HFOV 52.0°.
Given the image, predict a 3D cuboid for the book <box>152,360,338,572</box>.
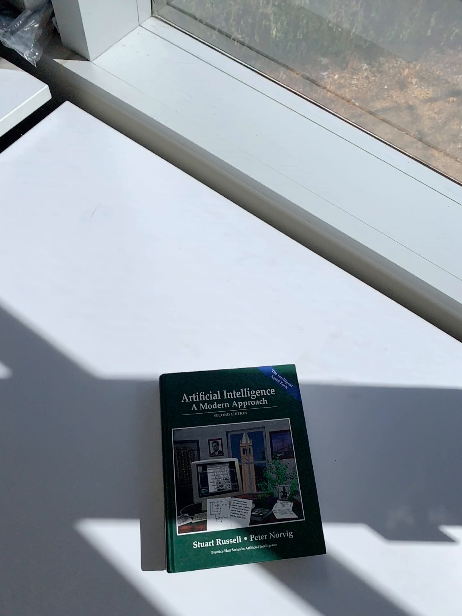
[{"bbox_3d":[0.009,0.214,0.677,0.230,0.050,0.260,-3,65,-7],"label":"book"}]
